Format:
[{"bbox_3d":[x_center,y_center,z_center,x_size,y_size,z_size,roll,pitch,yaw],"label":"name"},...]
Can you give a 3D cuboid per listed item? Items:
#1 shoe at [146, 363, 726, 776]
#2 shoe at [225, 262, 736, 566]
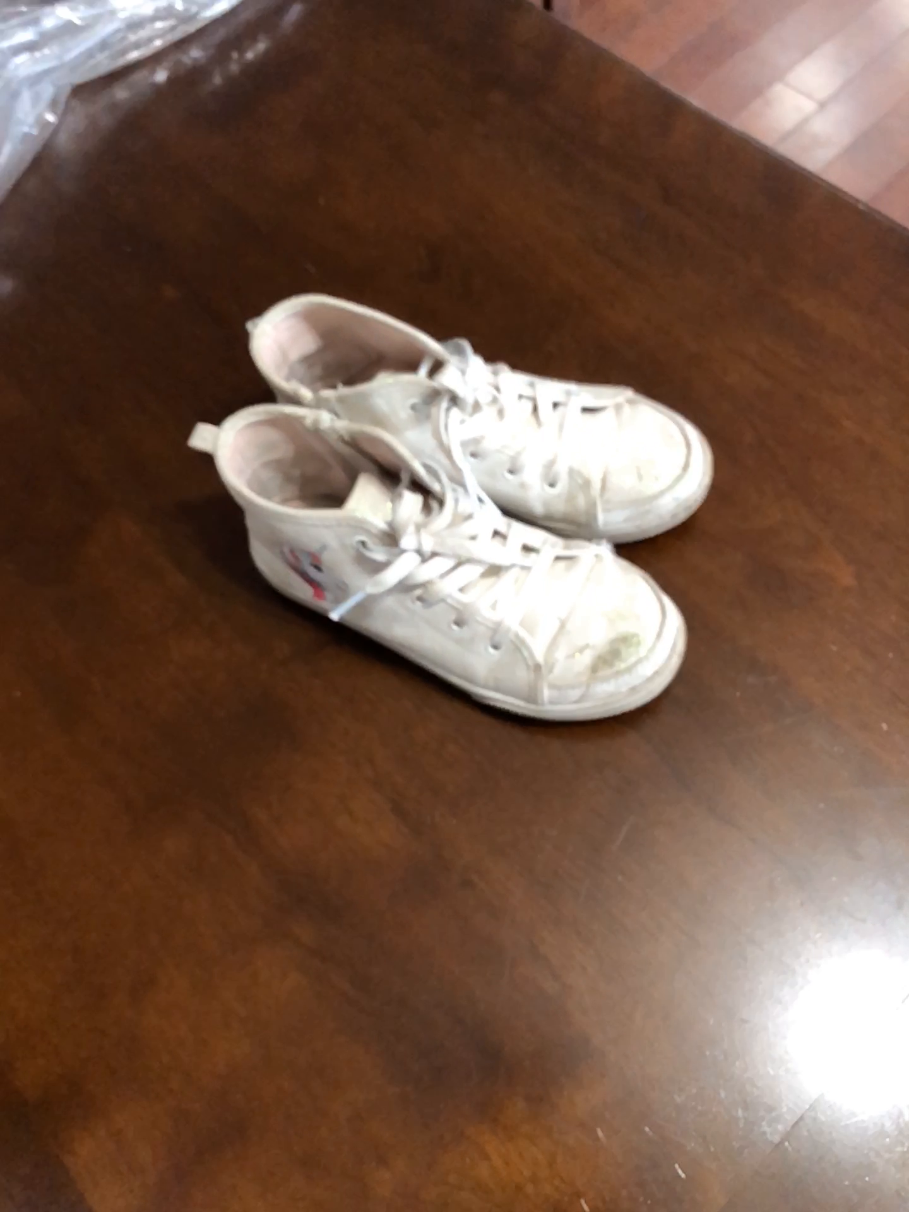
[{"bbox_3d":[-0.006,-0.016,0.459,0.220,0.100,0.090,19,68,14],"label":"shoe"},{"bbox_3d":[0.017,-0.094,0.503,0.220,0.100,0.090,6,66,9],"label":"shoe"}]
